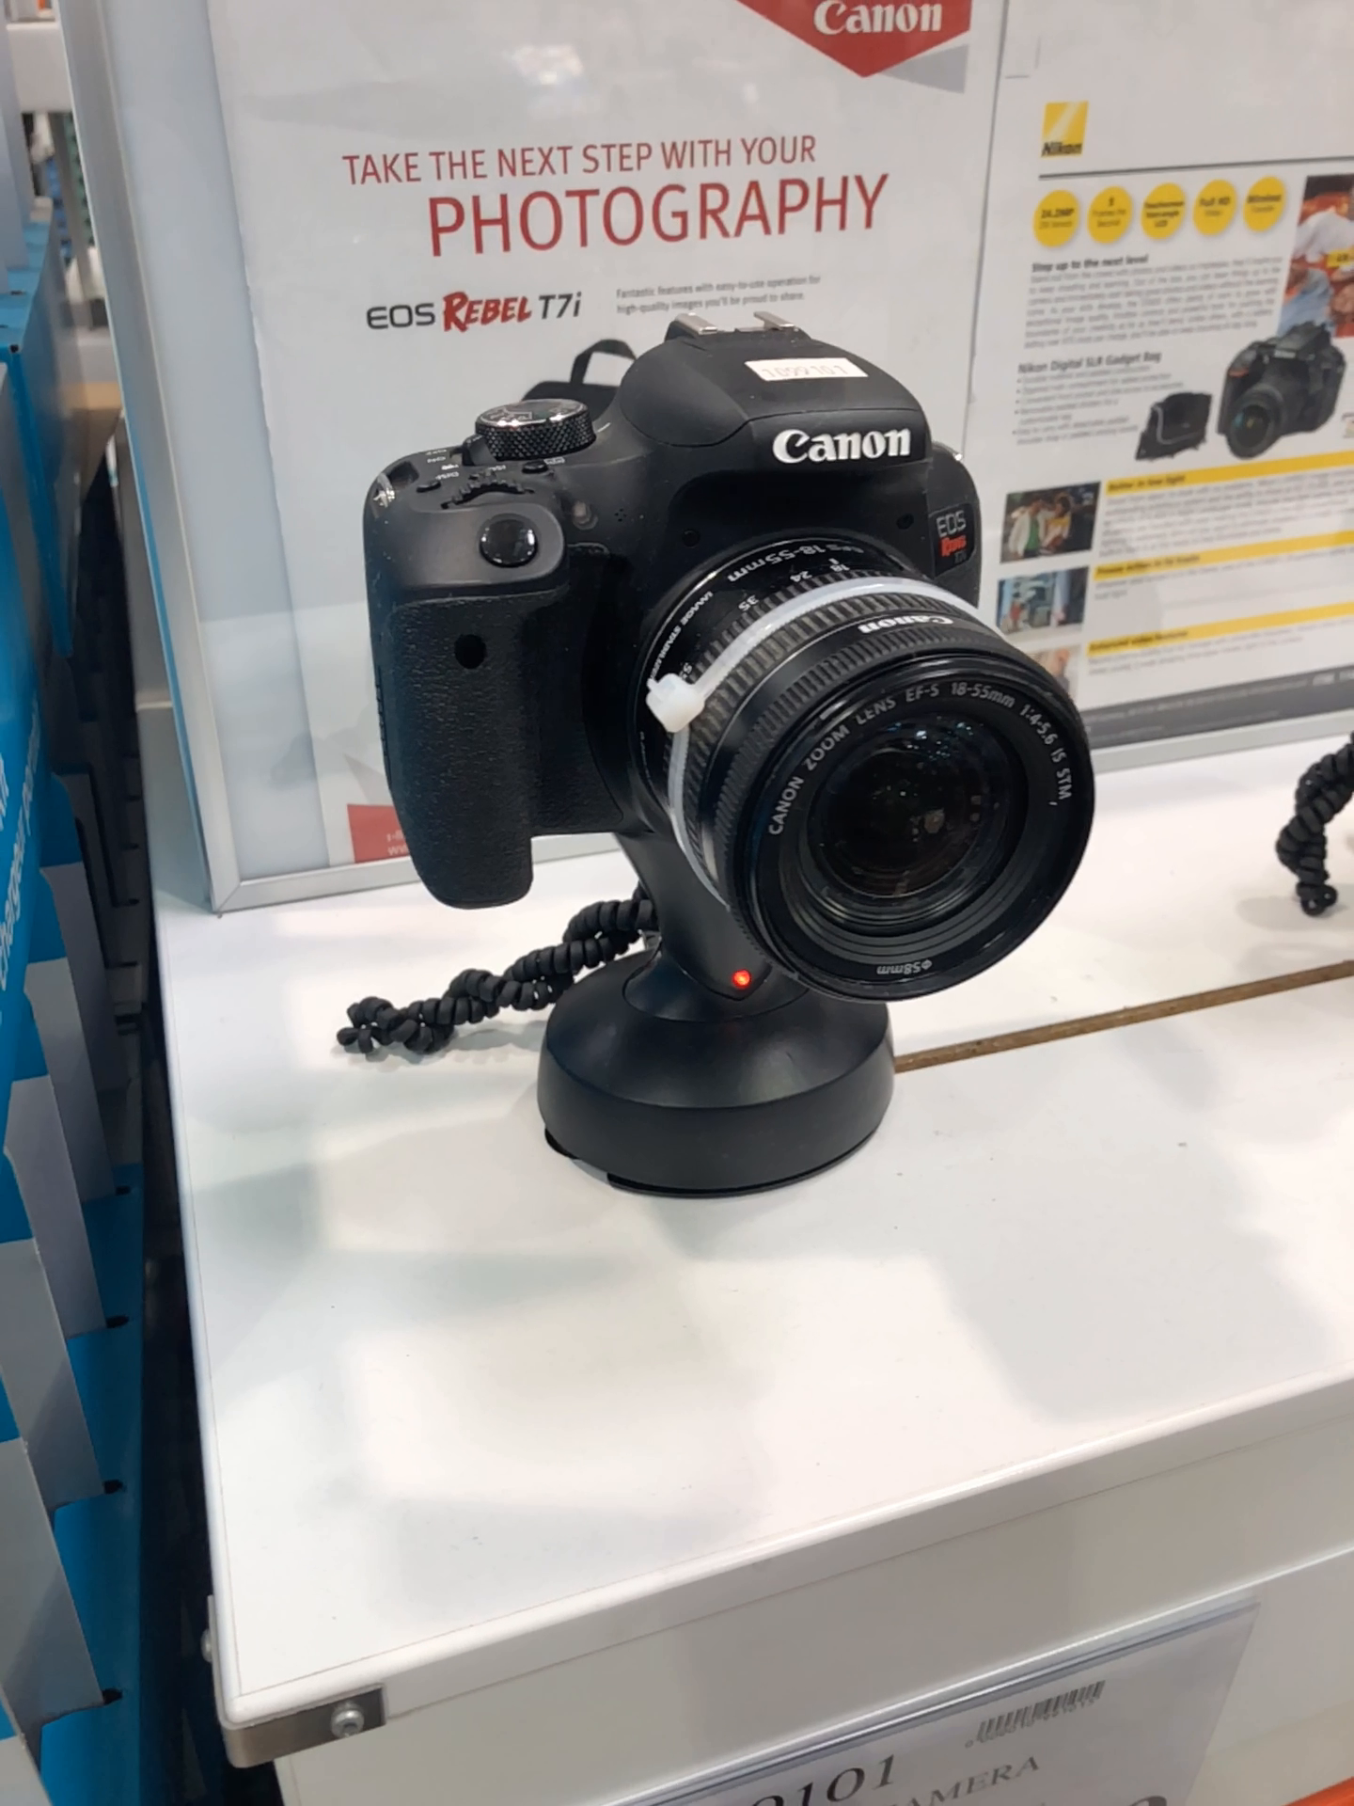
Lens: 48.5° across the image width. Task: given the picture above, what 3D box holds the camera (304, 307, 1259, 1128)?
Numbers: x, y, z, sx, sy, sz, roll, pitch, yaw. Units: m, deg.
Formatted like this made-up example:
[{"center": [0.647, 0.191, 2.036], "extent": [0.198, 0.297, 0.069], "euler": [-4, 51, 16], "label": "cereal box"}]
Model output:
[{"center": [0.006, -0.053, 0.307], "extent": [0.130, 0.100, 0.151], "euler": [-10, 33, -17], "label": "camera"}]
